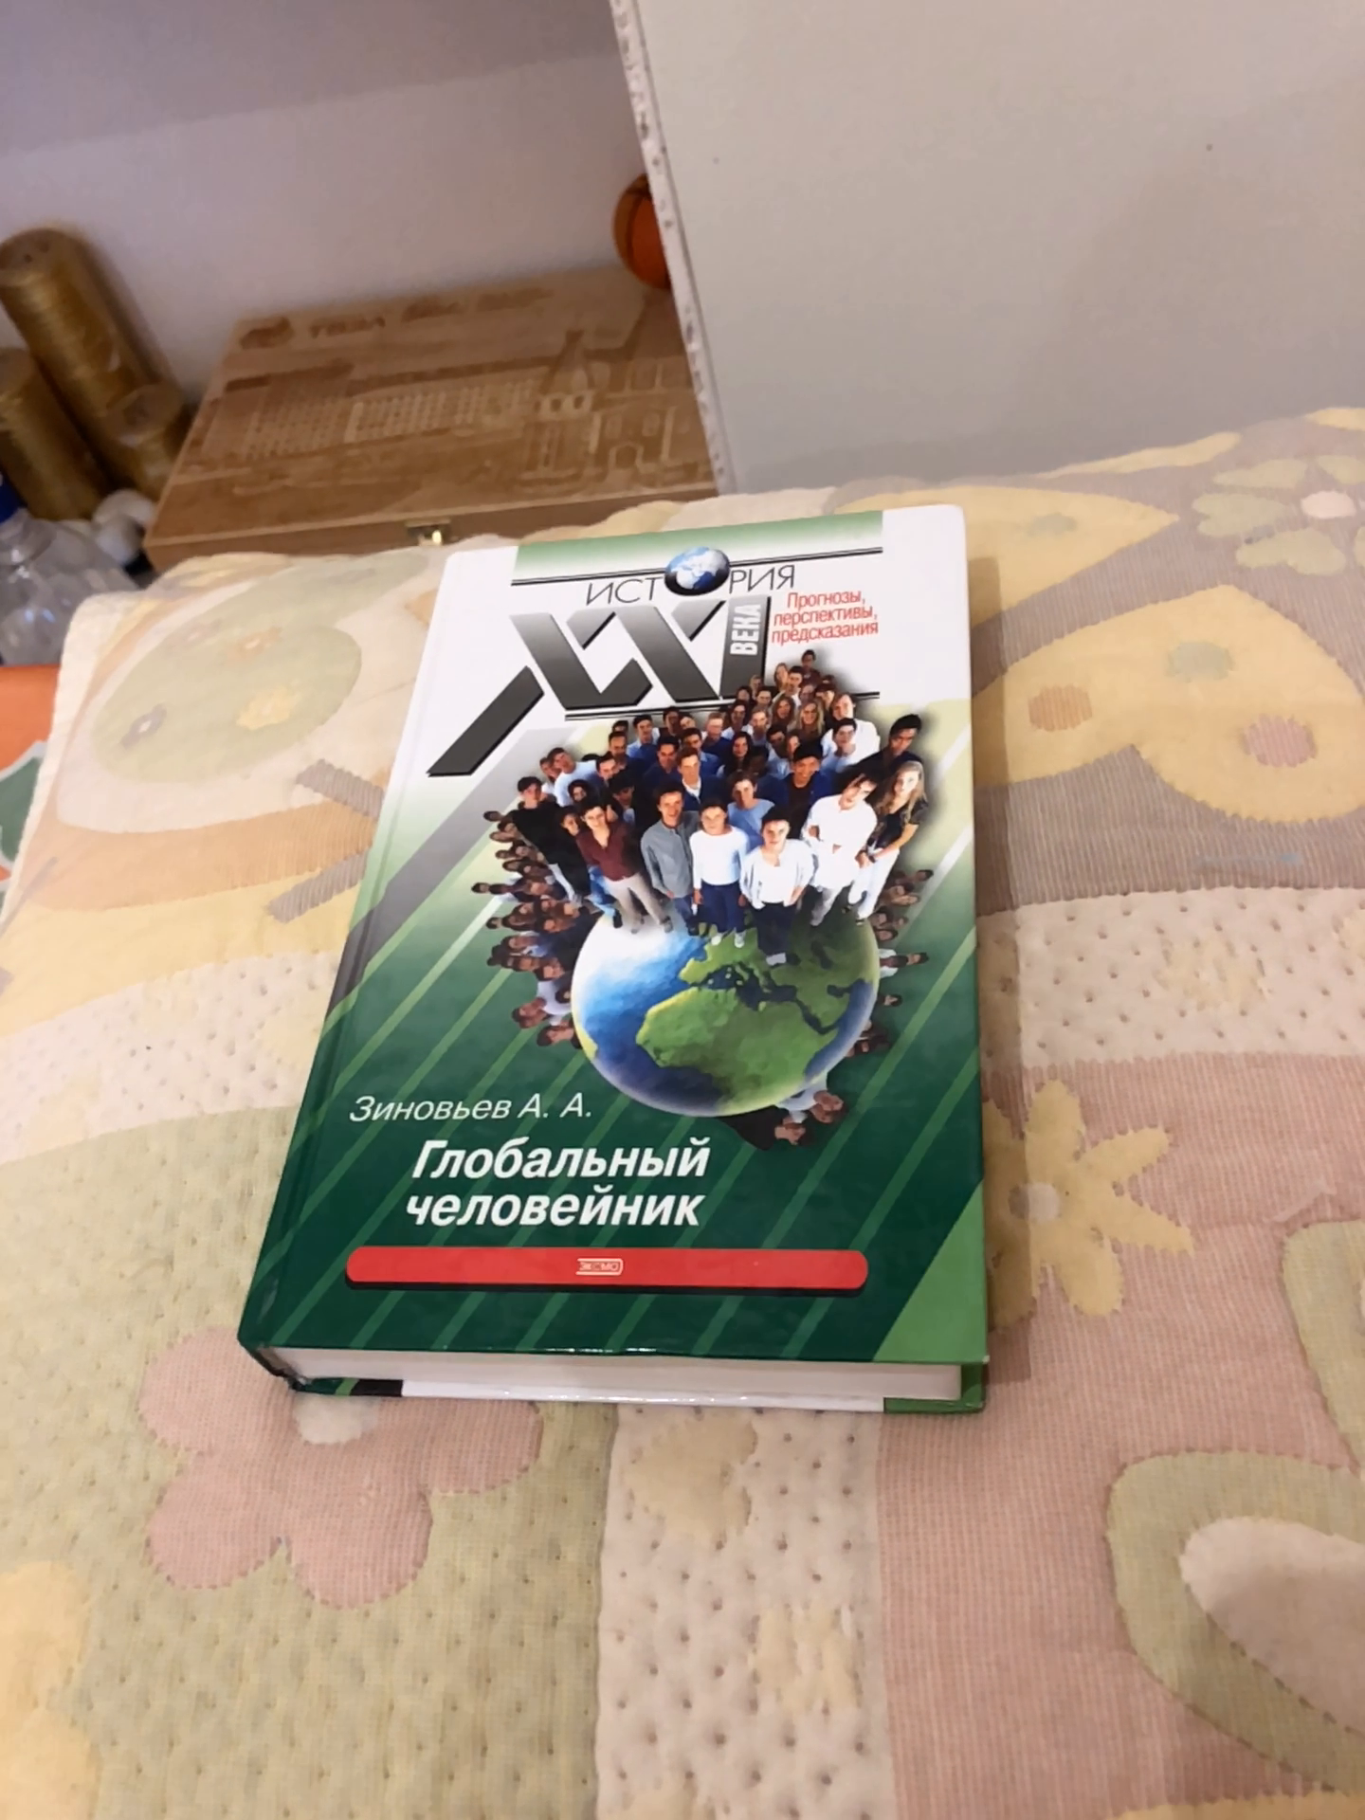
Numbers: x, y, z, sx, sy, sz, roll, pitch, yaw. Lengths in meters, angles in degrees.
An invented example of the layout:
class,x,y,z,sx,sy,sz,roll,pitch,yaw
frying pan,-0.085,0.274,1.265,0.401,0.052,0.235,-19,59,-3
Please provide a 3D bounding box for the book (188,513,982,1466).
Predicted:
class,x,y,z,sx,sy,sz,roll,pitch,yaw
book,-0.007,0.004,0.320,0.133,0.036,0.208,-2,54,12
